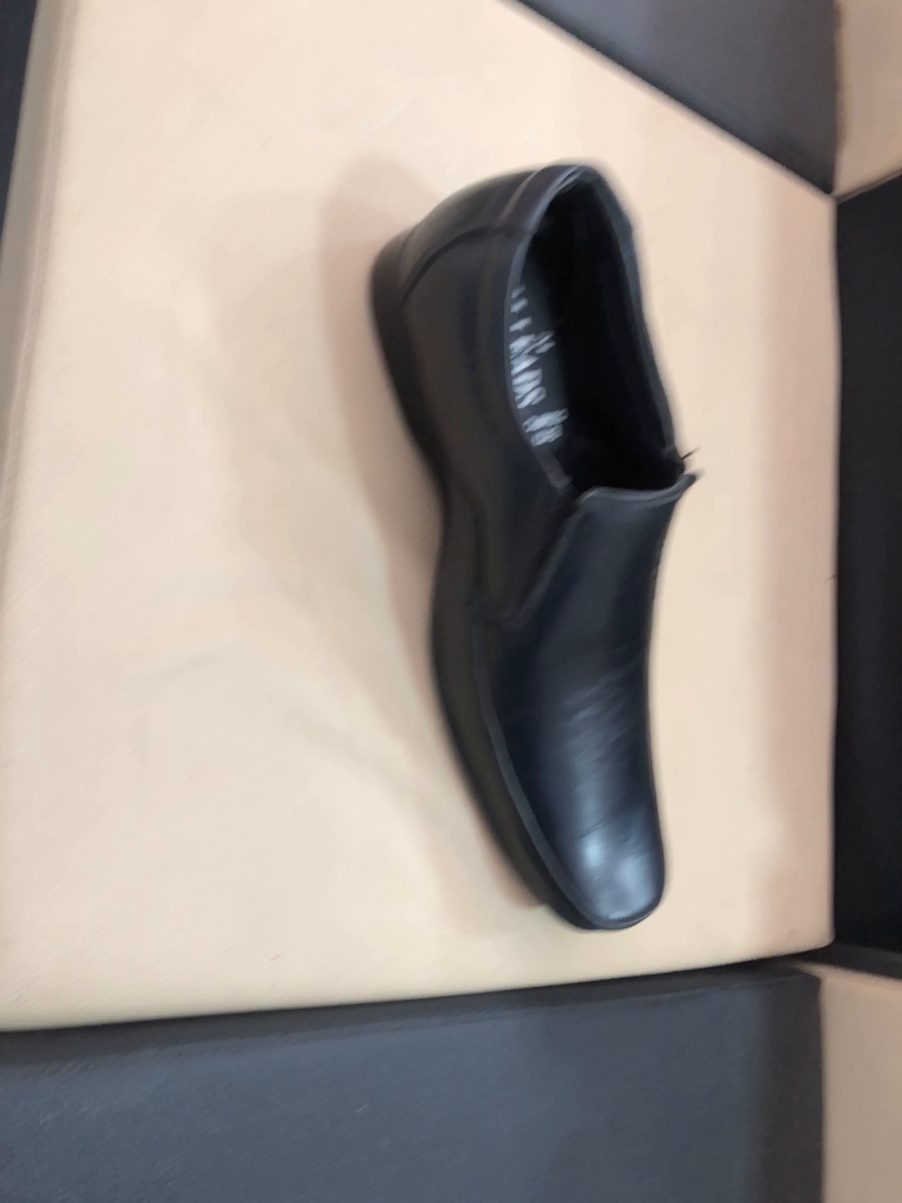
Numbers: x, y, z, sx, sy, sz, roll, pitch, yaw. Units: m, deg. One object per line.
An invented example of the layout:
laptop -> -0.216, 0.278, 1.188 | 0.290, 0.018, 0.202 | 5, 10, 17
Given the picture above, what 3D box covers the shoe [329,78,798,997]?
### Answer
shoe -> 0.044, -0.023, 0.384 | 0.101, 0.079, 0.300 | -12, 92, -36
